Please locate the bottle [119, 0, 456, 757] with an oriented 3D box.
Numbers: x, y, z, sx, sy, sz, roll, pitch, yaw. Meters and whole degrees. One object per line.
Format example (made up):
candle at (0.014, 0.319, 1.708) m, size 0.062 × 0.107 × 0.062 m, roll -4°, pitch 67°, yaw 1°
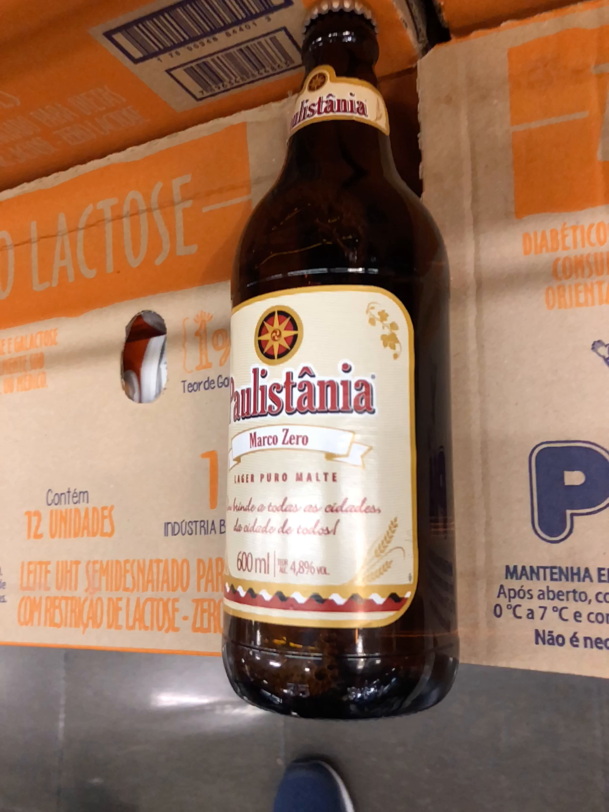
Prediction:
bottle at (-0.002, -0.039, 0.211) m, size 0.080 × 0.050 × 0.250 m, roll -4°, pitch 79°, yaw 26°
